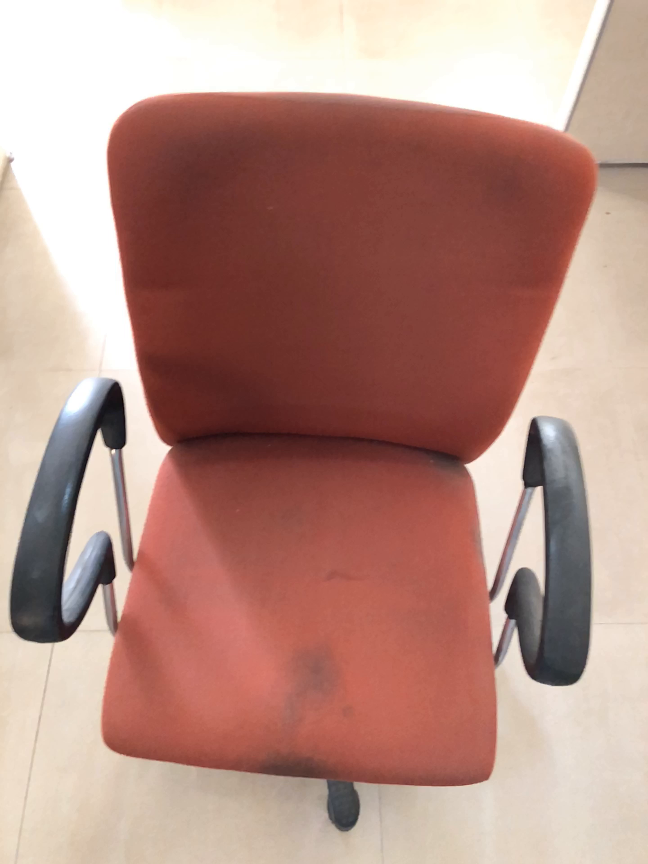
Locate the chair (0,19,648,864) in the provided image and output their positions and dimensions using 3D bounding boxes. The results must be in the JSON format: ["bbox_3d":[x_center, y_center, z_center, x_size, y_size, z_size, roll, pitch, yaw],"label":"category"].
[{"bbox_3d":[-0.016,0.155,1.025,0.770,1.046,0.703,6,60,2],"label":"chair"}]
